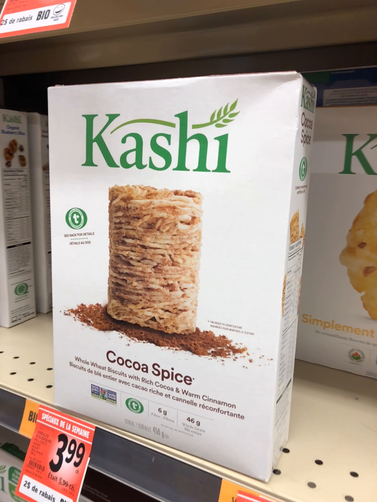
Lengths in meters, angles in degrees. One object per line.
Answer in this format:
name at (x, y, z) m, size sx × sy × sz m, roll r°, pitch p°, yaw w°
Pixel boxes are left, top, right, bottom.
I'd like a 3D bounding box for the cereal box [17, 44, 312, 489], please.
cereal box at (-0.028, 0.006, 0.327) m, size 0.210 × 0.279 × 0.060 m, roll 7°, pitch 12°, yaw 26°
